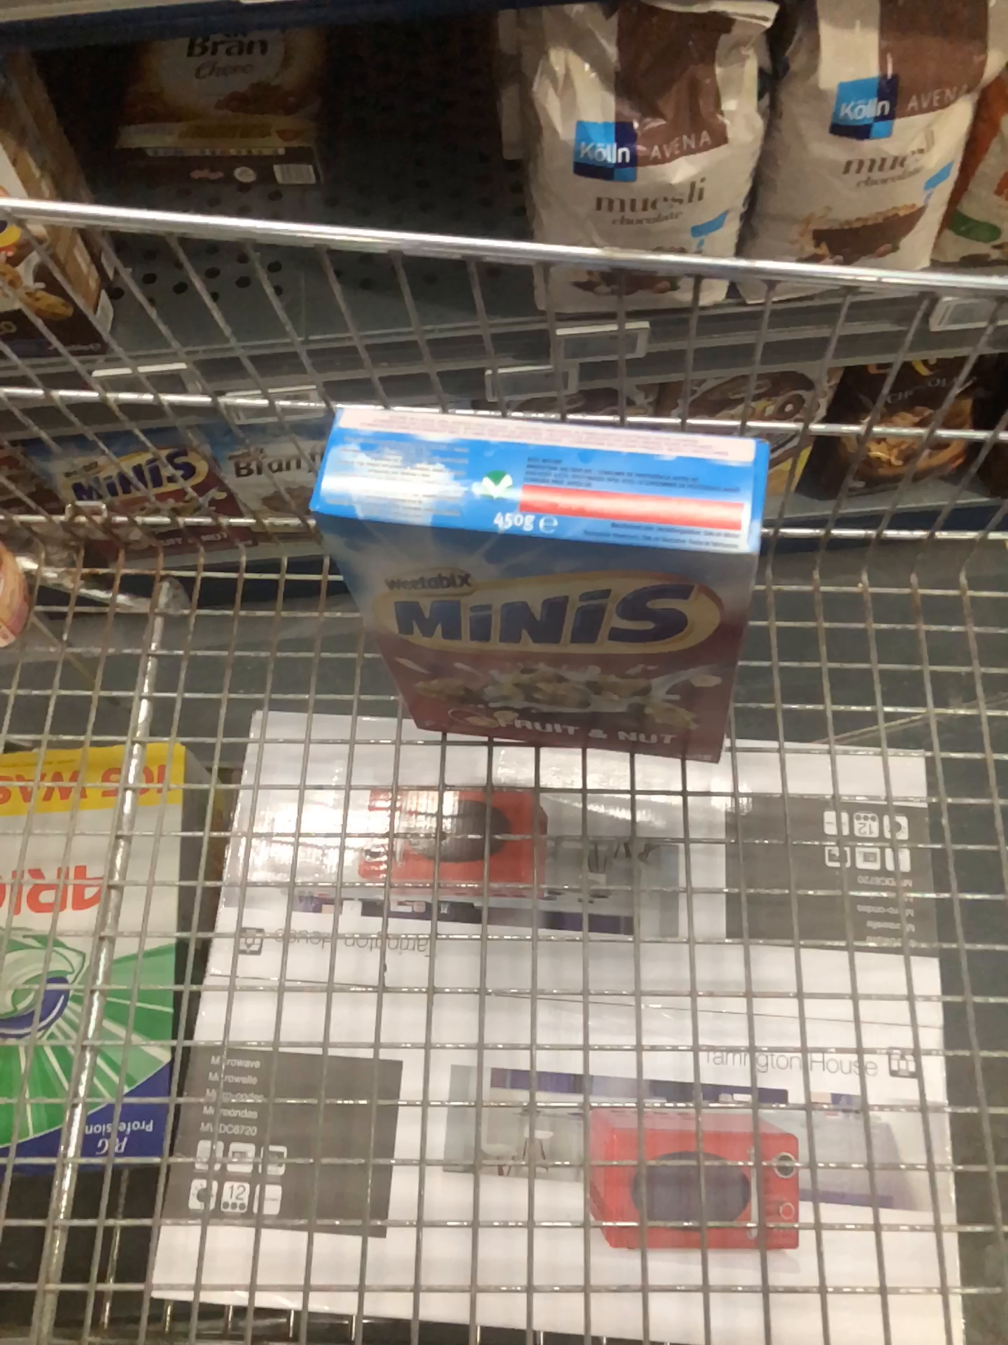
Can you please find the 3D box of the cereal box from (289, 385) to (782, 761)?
[{"bbox_3d":[0.027,-0.042,0.631,0.220,0.260,0.080,5,67,9],"label":"cereal box"}]
